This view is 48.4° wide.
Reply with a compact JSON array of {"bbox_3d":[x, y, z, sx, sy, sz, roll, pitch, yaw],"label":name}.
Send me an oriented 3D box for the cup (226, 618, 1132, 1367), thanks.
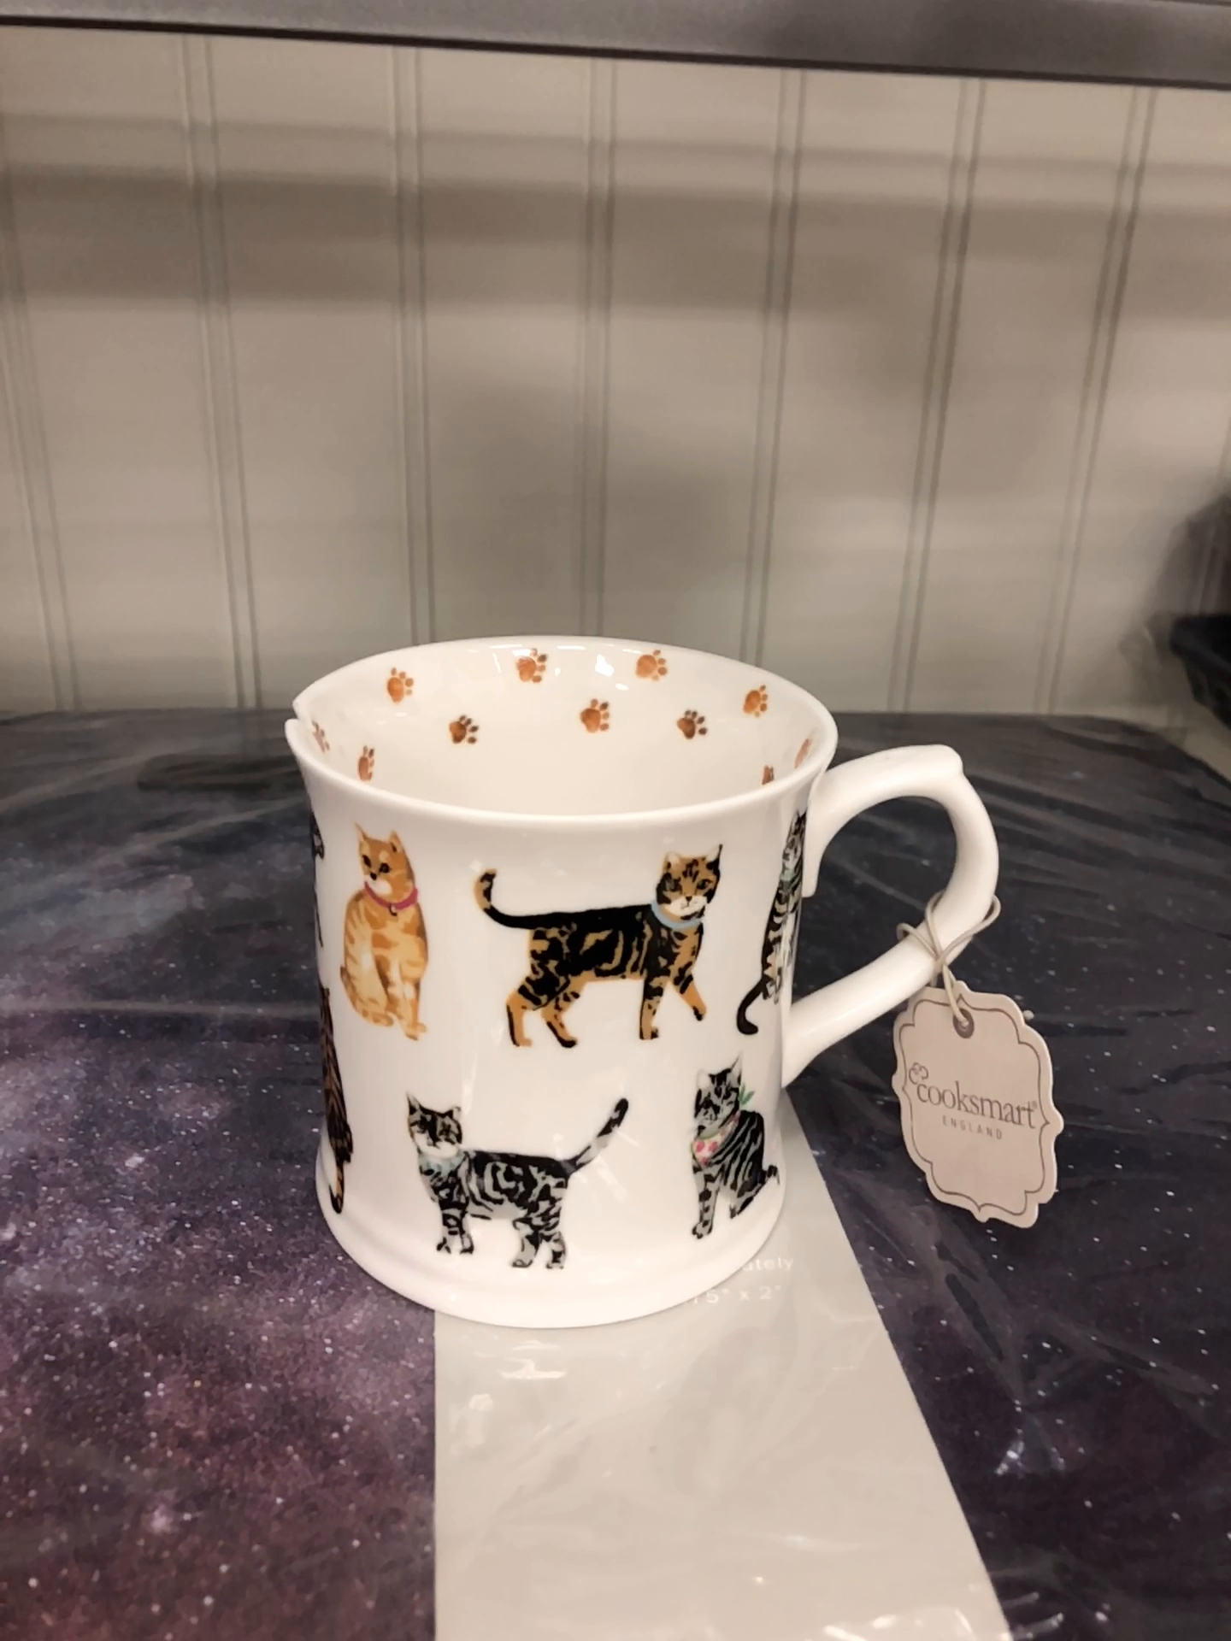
[{"bbox_3d":[0.003,0.024,0.265,0.137,0.099,0.096,-2,24,-10],"label":"cup"}]
